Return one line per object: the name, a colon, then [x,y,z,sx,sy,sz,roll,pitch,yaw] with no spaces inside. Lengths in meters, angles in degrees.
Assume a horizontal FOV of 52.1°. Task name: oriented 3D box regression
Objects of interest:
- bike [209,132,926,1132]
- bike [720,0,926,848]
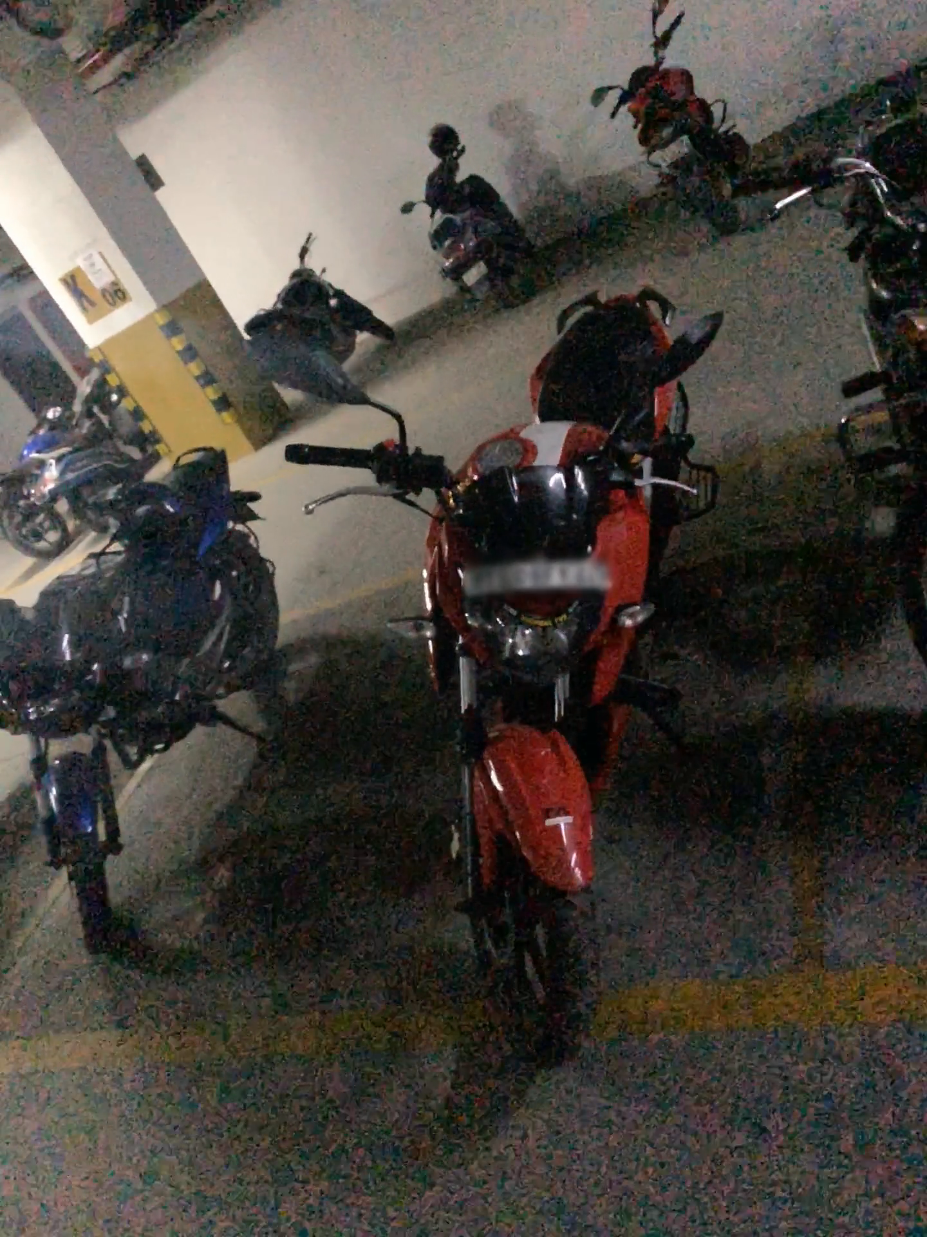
bike: [0.361,-0.105,1.963,0.802,1.006,1.699,-18,32,25]
bike: [1.018,-0.538,1.835,0.674,0.934,1.572,-18,30,25]
